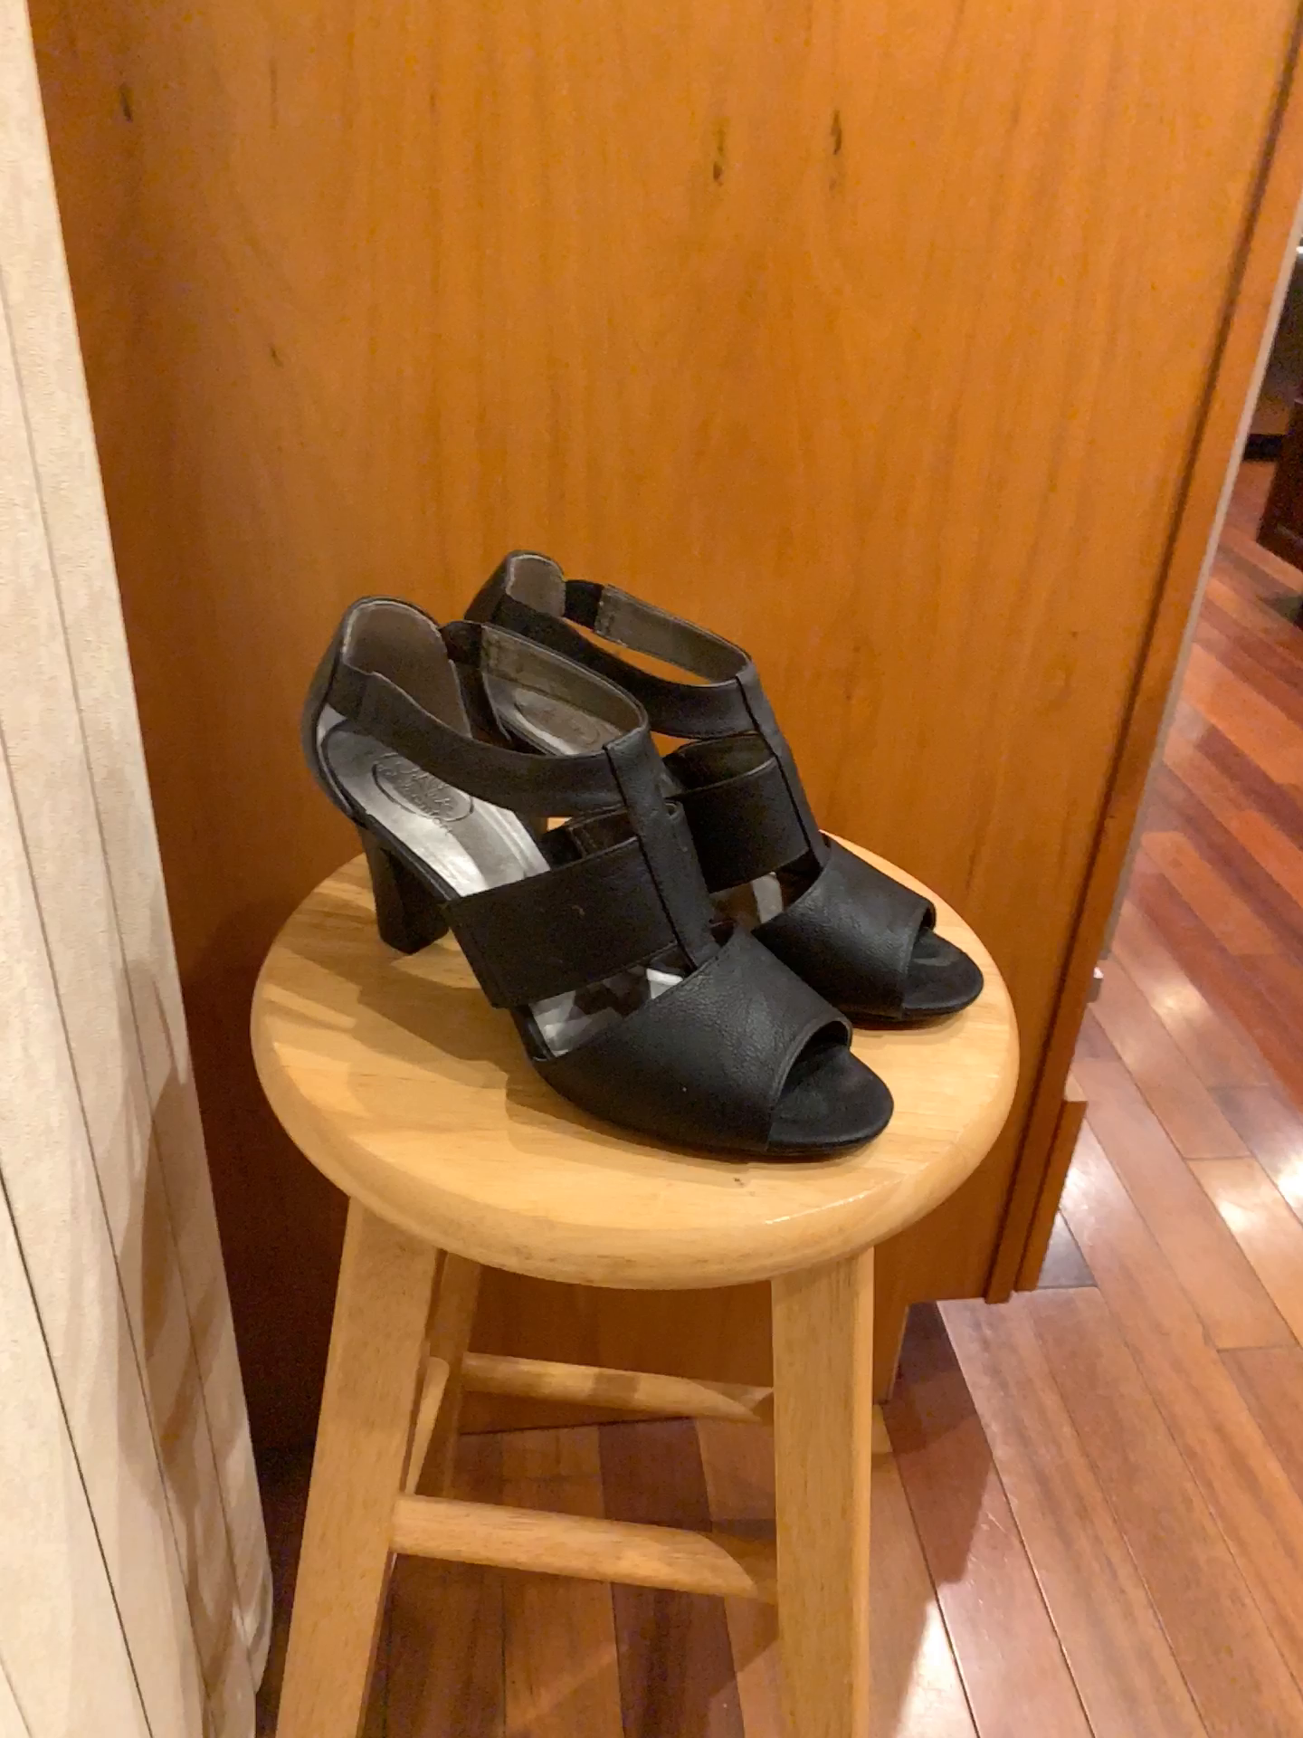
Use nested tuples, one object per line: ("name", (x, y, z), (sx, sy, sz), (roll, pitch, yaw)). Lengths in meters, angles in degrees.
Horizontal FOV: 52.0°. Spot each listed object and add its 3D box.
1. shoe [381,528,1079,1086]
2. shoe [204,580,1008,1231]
("shoe", (0.024, -0.034, 0.518), (0.234, 0.130, 0.100), (18, 34, 22))
("shoe", (-0.022, 0.000, 0.455), (0.244, 0.125, 0.090), (19, 34, 24))
